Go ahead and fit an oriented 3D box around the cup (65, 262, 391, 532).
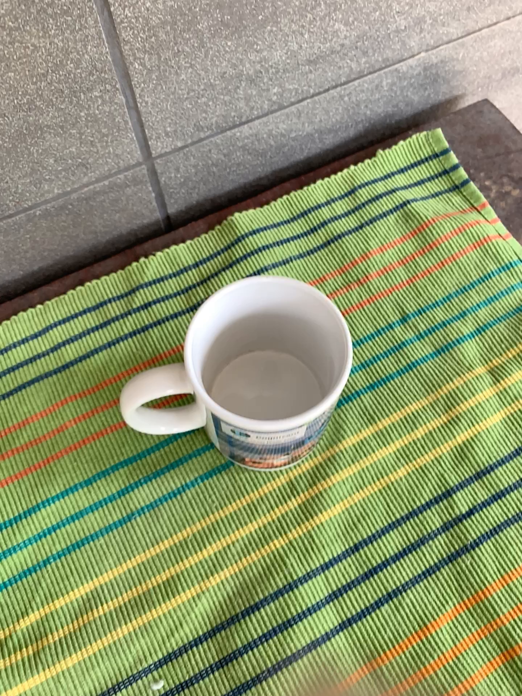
[{"bbox_3d":[-0.018,0.031,0.291,0.130,0.100,0.080,-17,66,-9],"label":"cup"}]
